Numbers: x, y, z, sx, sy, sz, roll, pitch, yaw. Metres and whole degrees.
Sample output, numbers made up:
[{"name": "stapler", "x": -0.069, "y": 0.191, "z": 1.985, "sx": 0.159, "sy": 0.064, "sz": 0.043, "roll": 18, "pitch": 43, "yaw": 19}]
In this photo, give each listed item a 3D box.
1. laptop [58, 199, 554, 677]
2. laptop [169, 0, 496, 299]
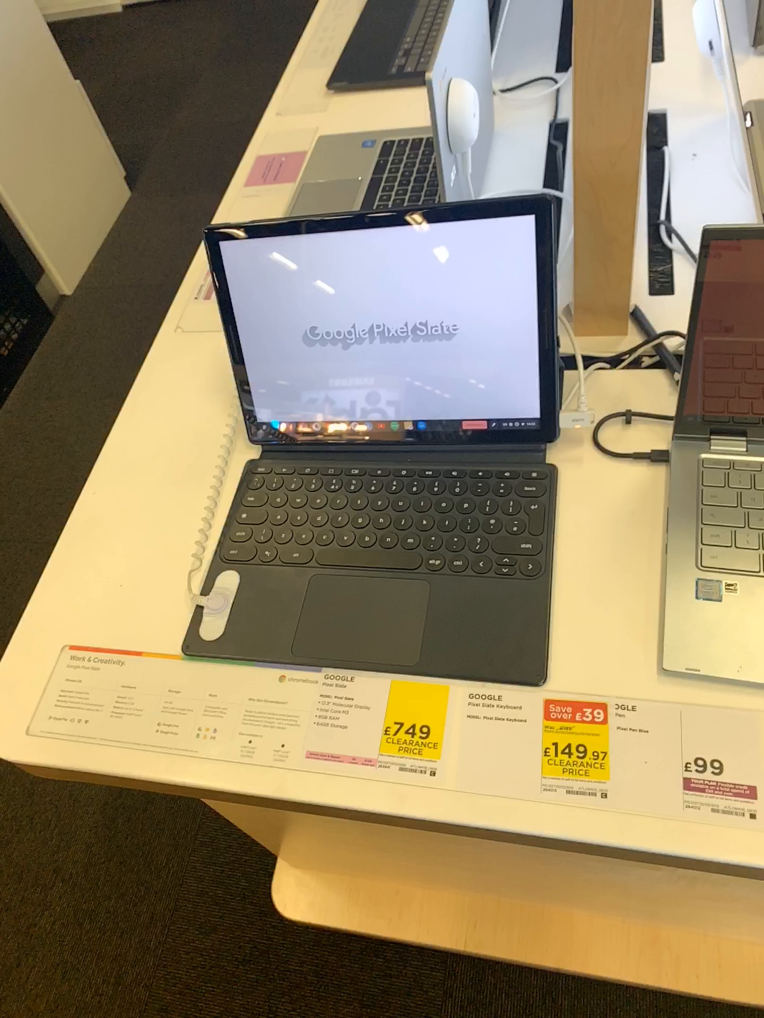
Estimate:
[{"name": "laptop", "x": -0.021, "y": -0.057, "z": 0.606, "sx": 0.285, "sy": 0.188, "sz": 0.294, "roll": 1, "pitch": 55, "yaw": 14}, {"name": "laptop", "x": -0.022, "y": -0.427, "z": 0.840, "sx": 0.233, "sy": 0.222, "sz": 0.321, "roll": 3, "pitch": 56, "yaw": 15}]
